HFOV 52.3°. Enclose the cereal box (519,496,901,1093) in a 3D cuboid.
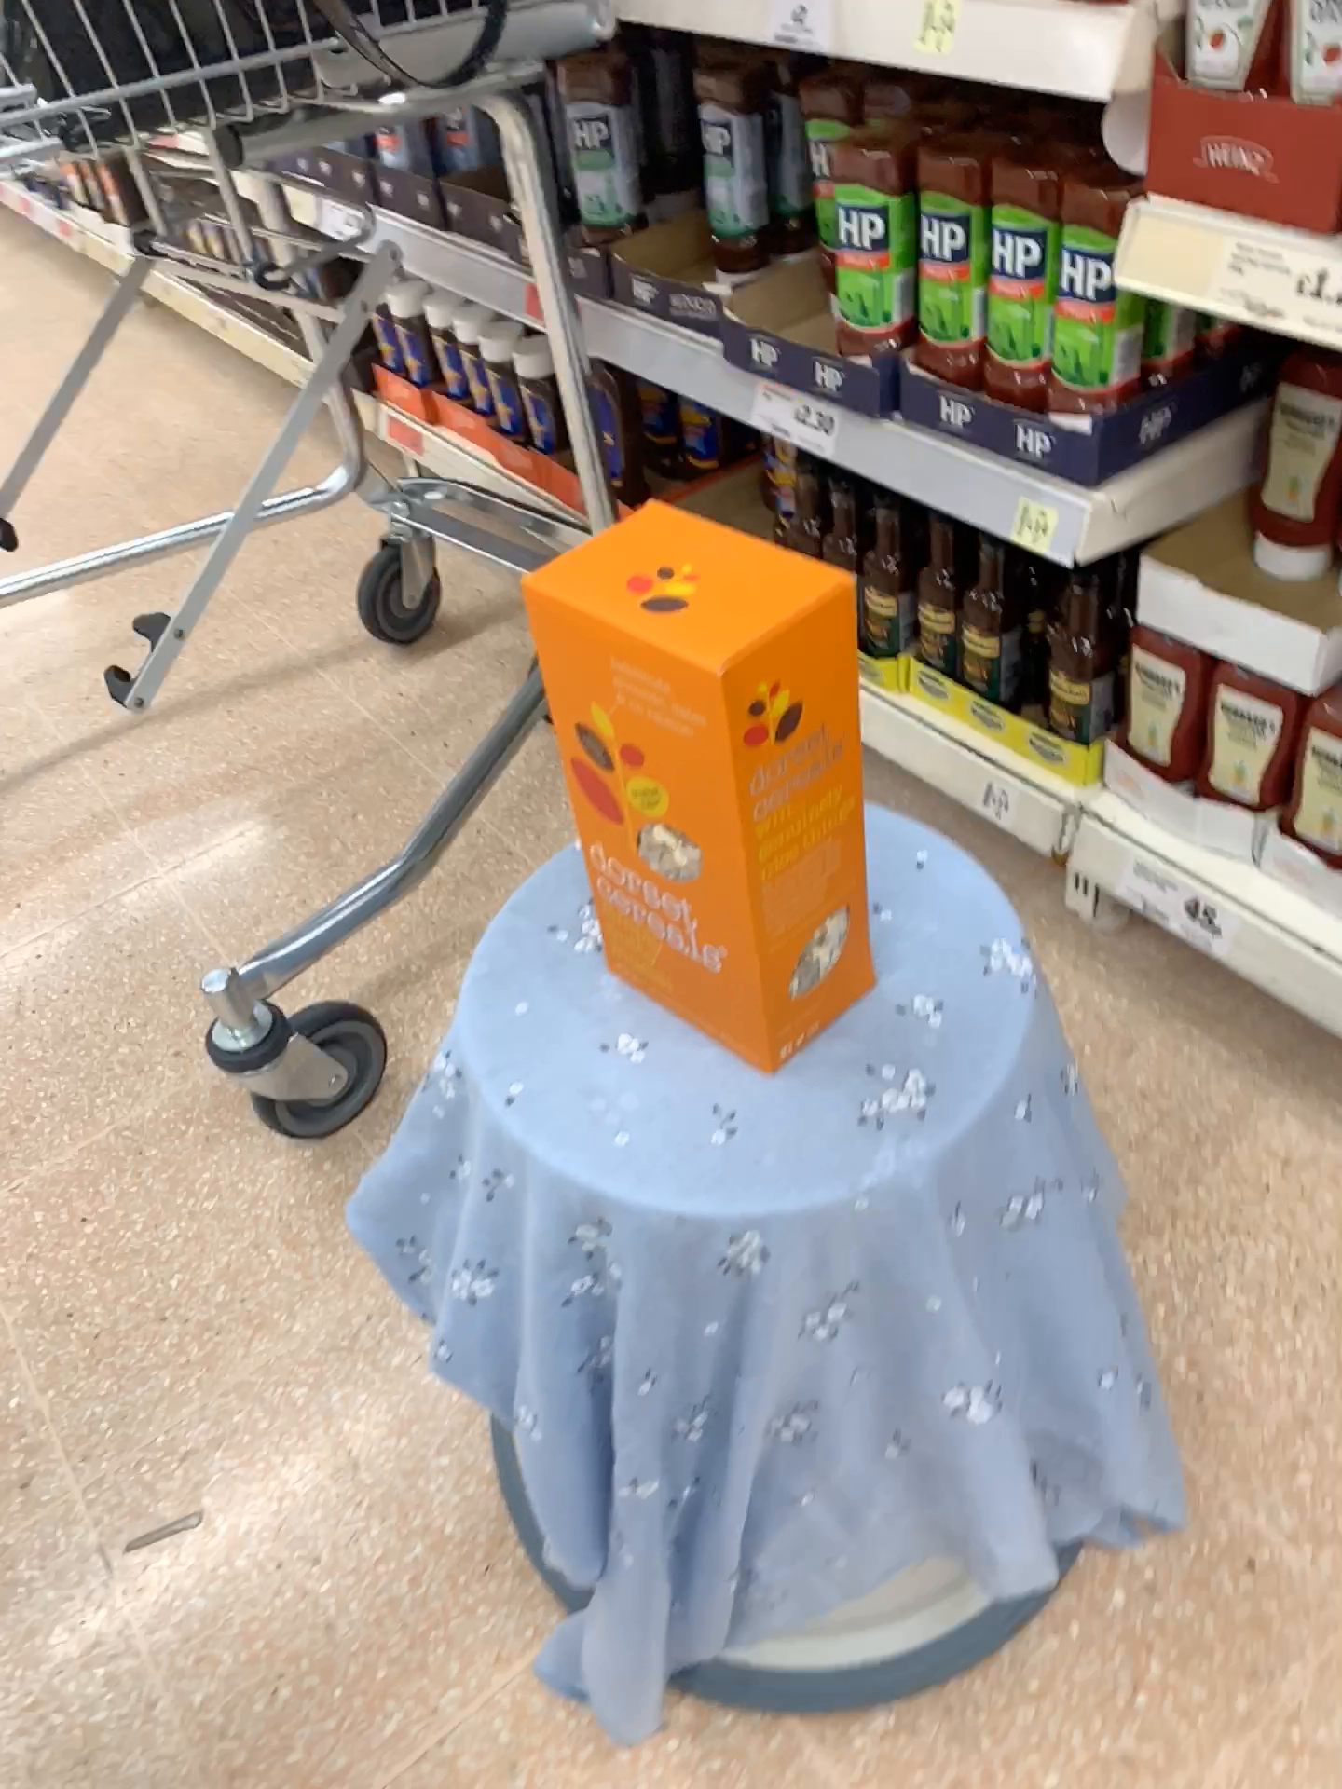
[{"bbox_3d":[0.026,-0.040,0.615,0.121,0.228,0.090,30,55,35],"label":"cereal box"}]
